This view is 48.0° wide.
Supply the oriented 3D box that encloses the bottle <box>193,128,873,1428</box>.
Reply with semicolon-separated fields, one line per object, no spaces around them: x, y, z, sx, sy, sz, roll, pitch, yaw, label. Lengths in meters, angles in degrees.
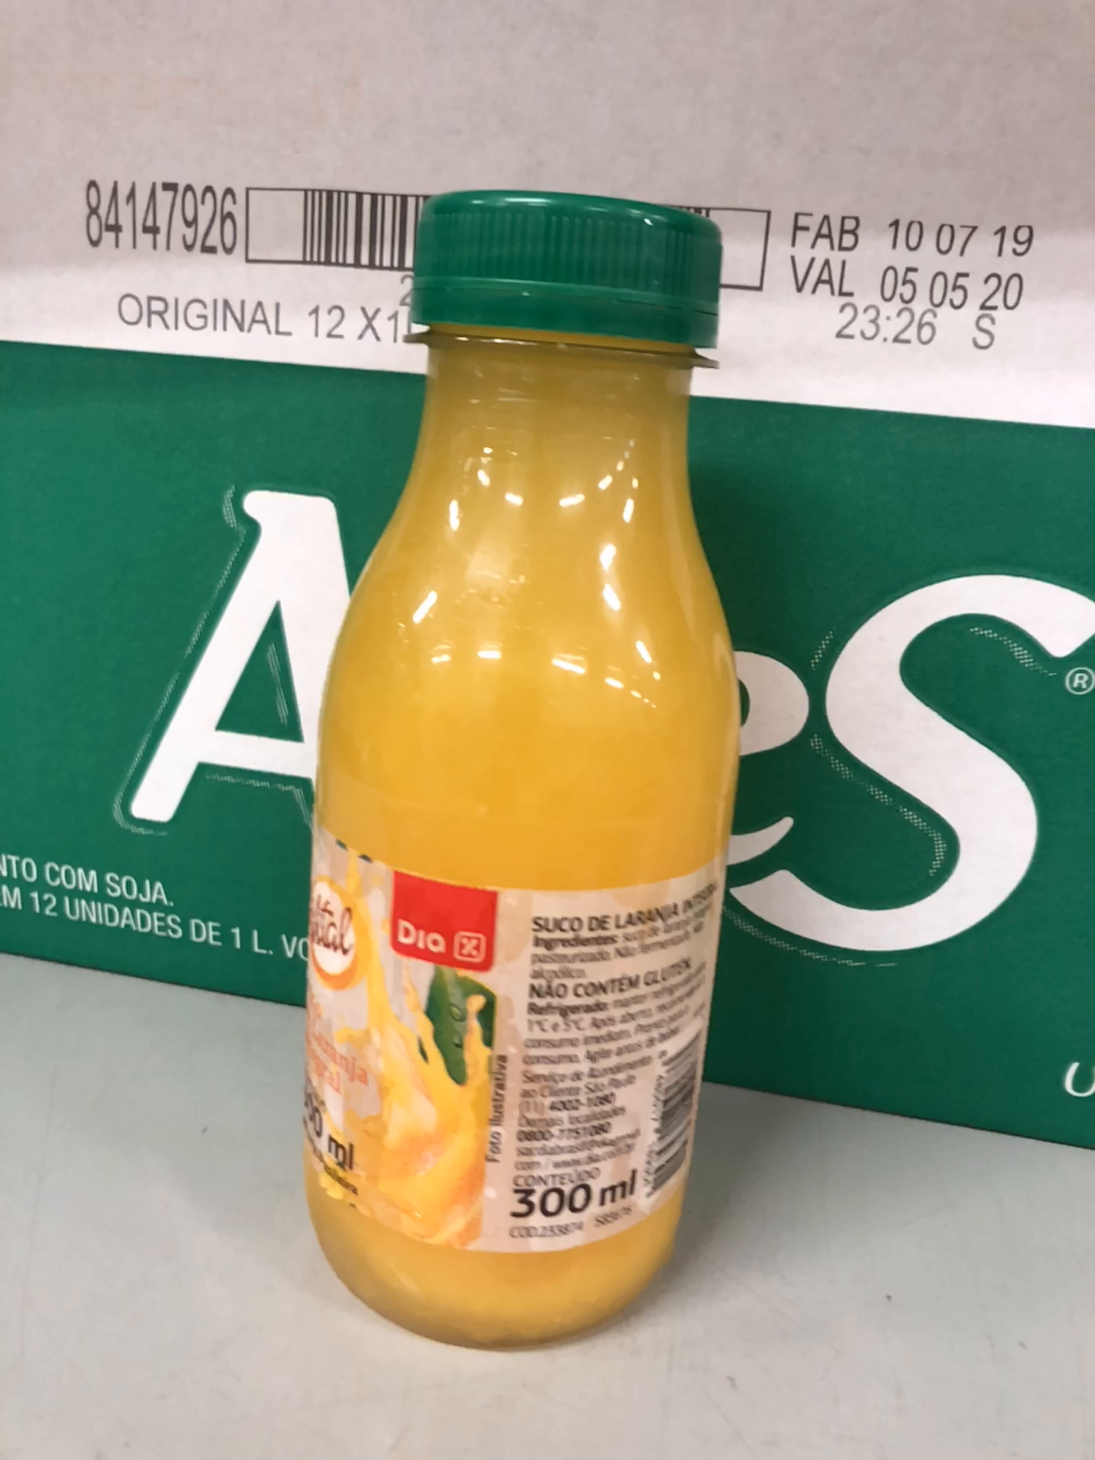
-0.008;0.004;0.186;0.060;0.159;0.070;-11;22;-39;bottle
